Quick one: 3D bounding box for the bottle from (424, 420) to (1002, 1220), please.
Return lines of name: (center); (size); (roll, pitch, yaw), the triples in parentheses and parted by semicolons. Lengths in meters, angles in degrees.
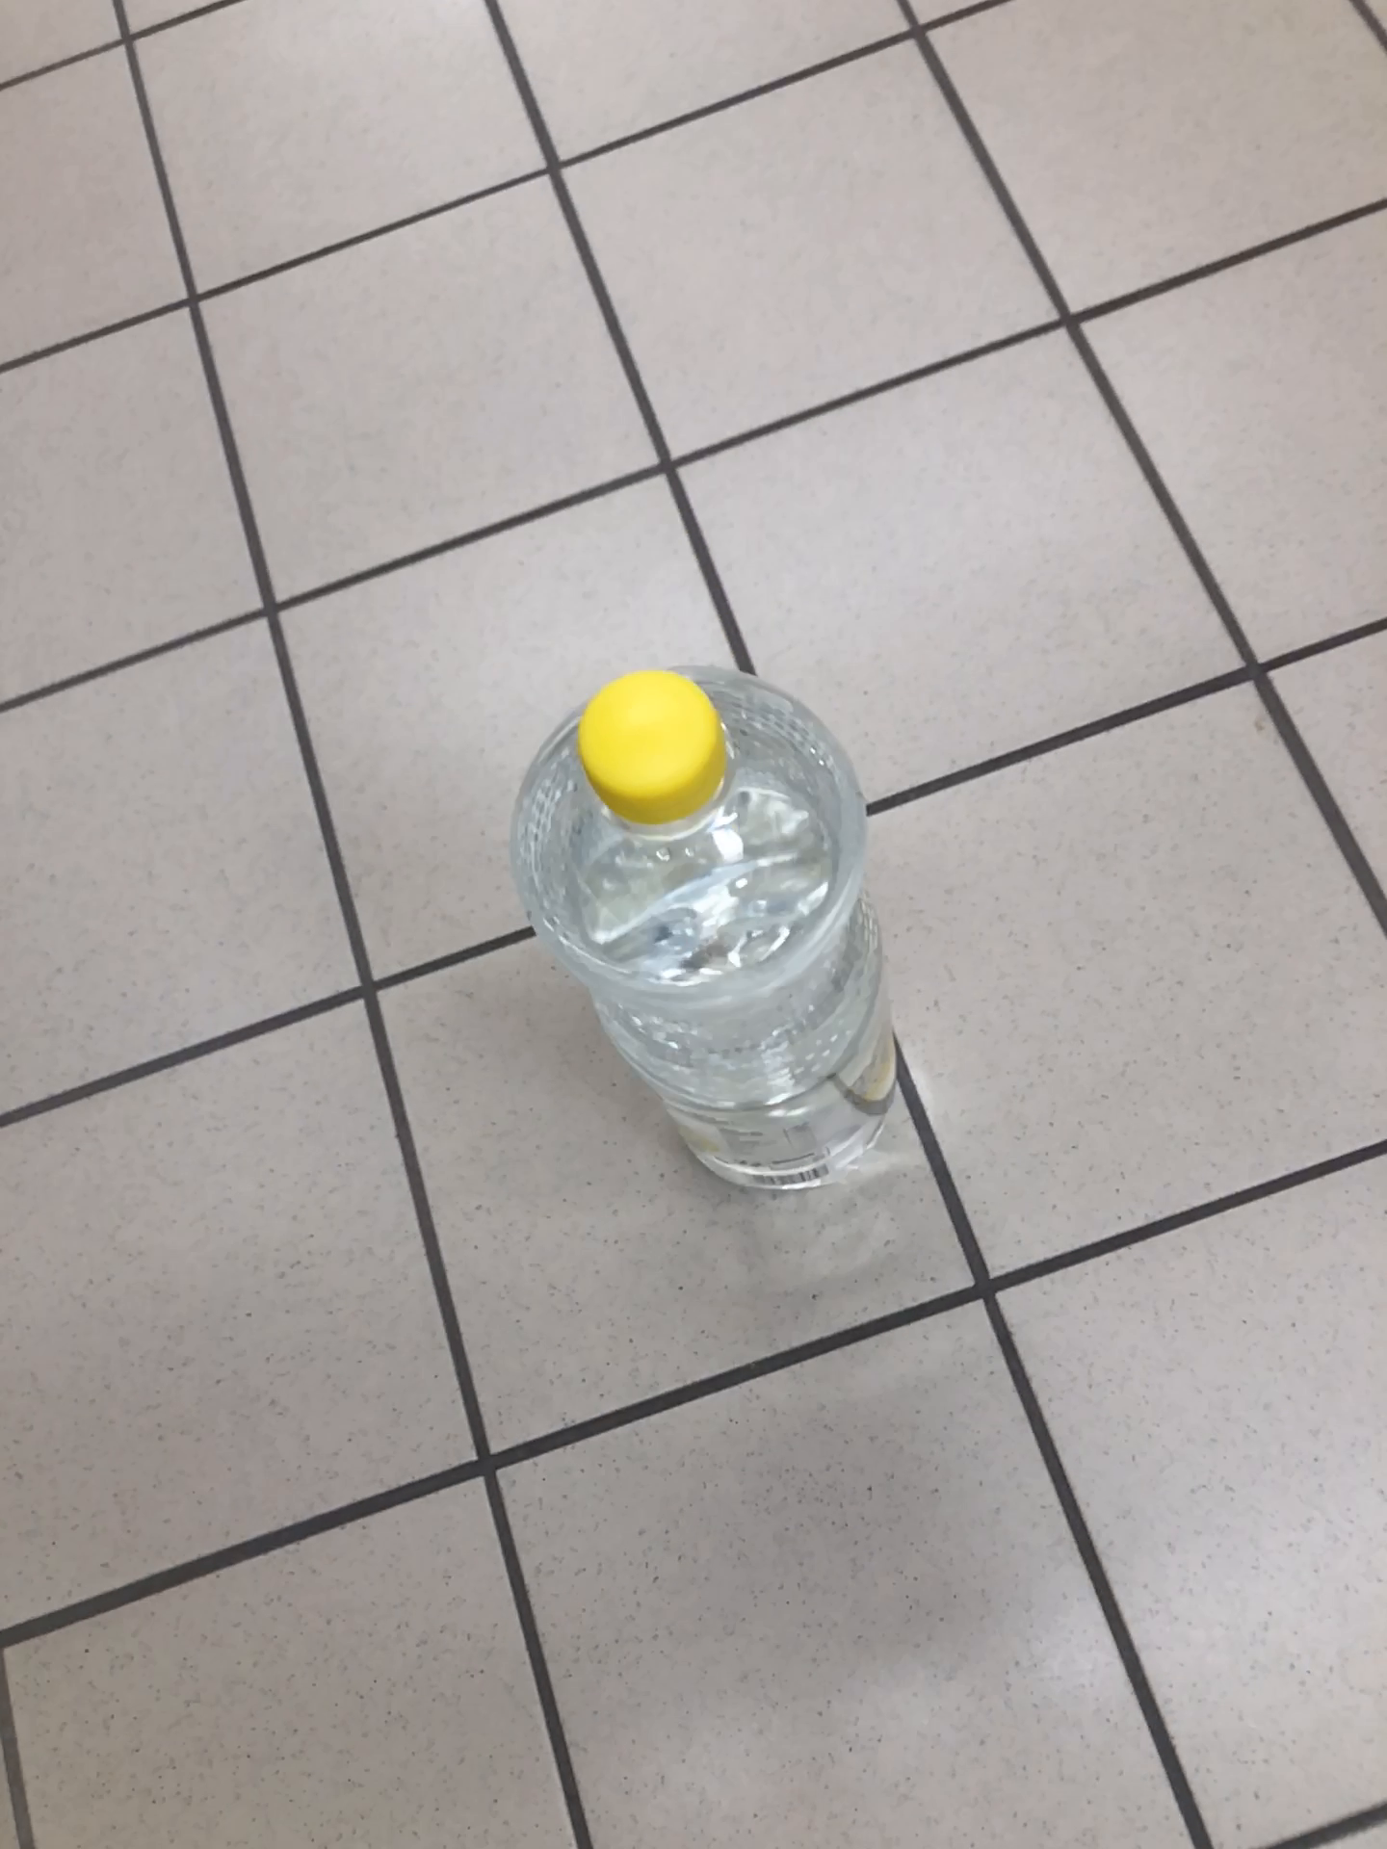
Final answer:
bottle: (0.023, 0.003, 0.466); (0.100, 0.319, 0.100); (-3, 70, 8)
